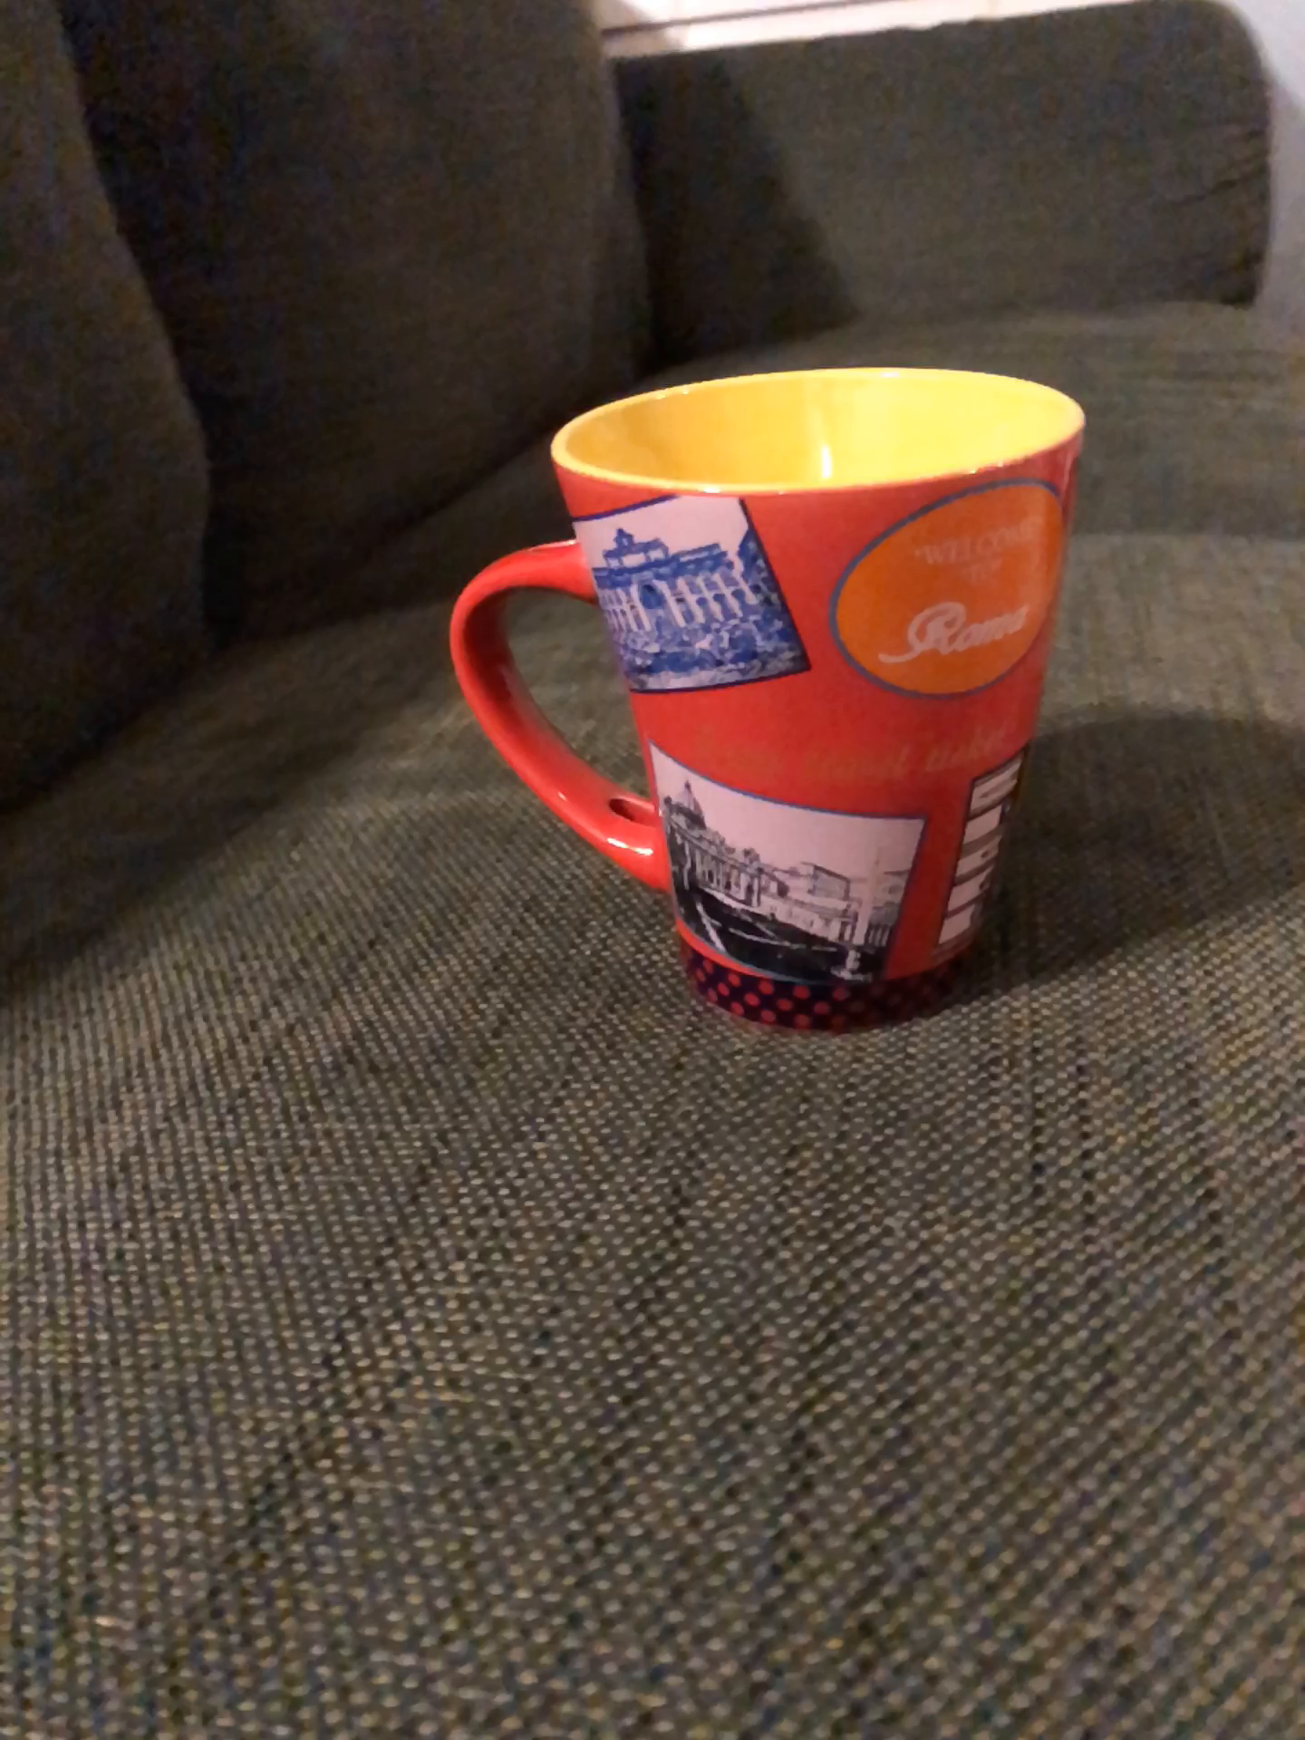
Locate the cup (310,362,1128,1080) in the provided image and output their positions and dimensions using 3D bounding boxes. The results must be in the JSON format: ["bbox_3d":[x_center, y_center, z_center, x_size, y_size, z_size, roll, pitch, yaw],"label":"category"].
[{"bbox_3d":[0.020,-0.036,0.280,0.120,0.100,0.090,7,29,24],"label":"cup"}]
